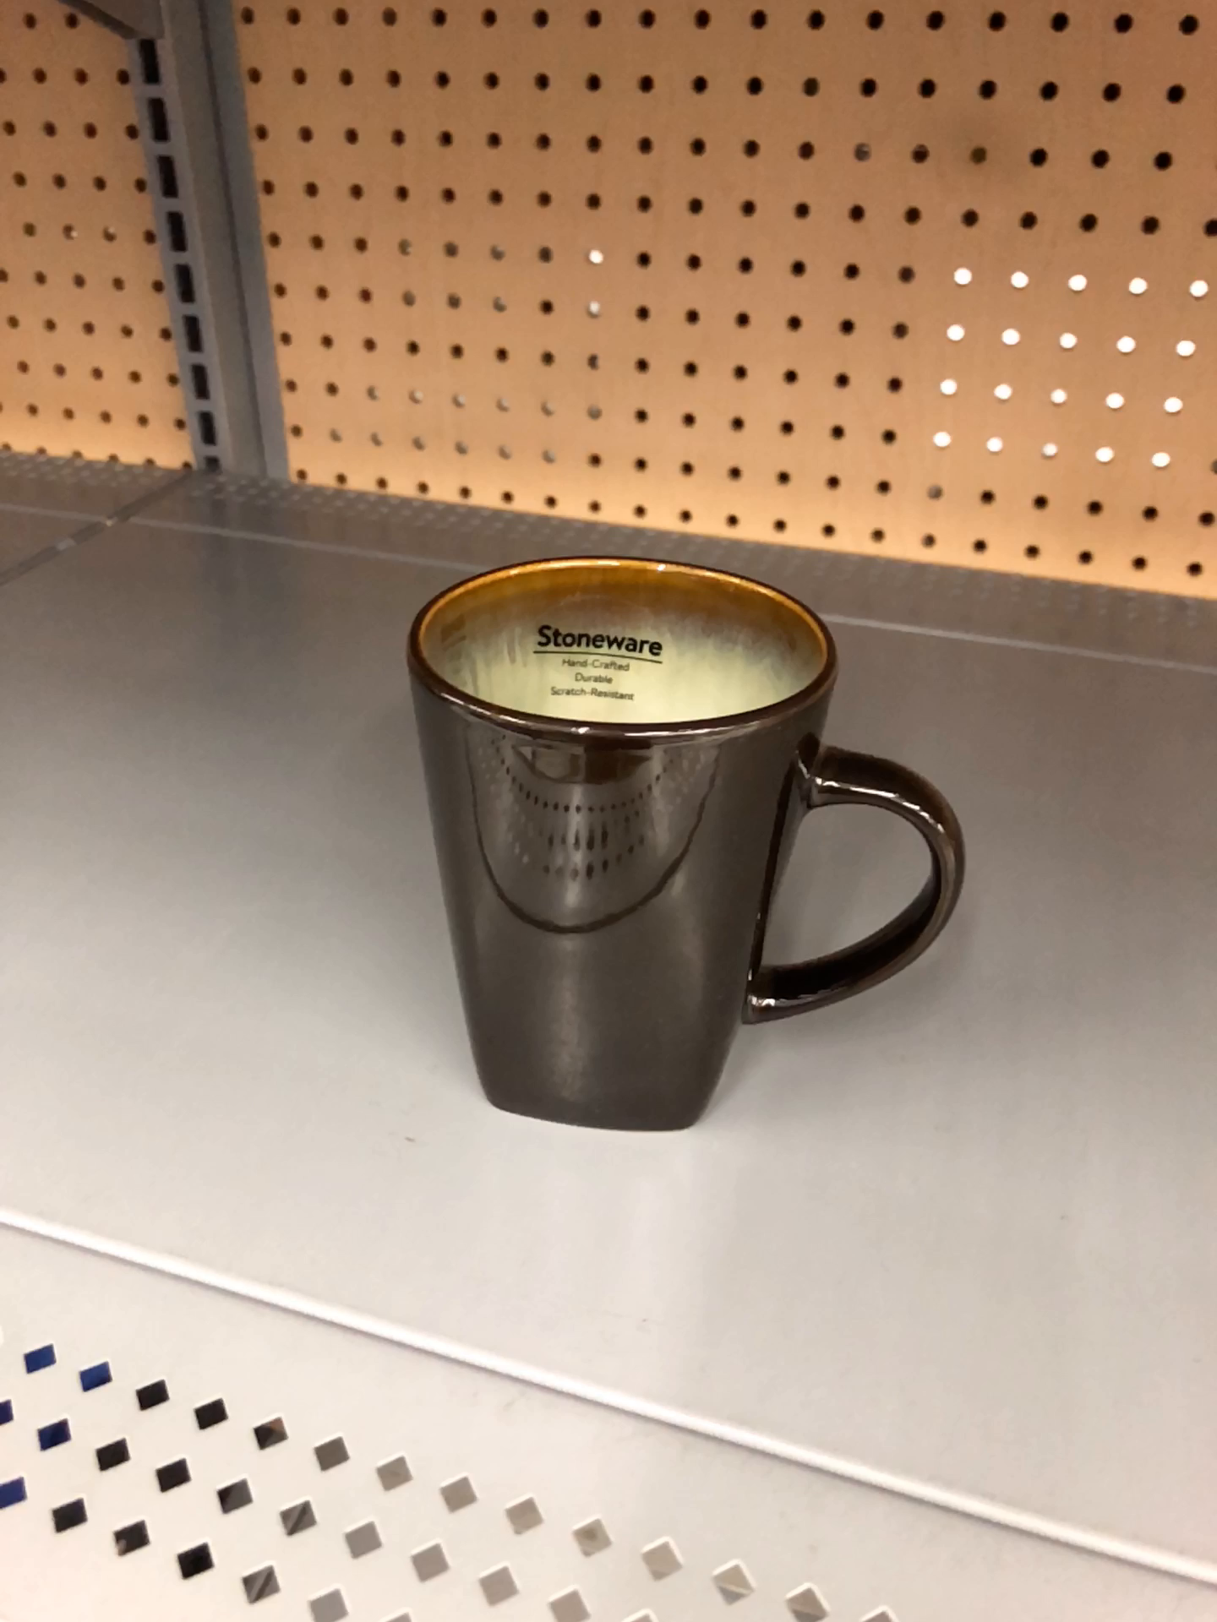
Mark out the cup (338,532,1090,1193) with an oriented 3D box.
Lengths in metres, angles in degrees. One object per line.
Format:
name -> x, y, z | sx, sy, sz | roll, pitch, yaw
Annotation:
cup -> 0.021, 0.006, 0.309 | 0.135, 0.099, 0.095 | 7, 31, 6
